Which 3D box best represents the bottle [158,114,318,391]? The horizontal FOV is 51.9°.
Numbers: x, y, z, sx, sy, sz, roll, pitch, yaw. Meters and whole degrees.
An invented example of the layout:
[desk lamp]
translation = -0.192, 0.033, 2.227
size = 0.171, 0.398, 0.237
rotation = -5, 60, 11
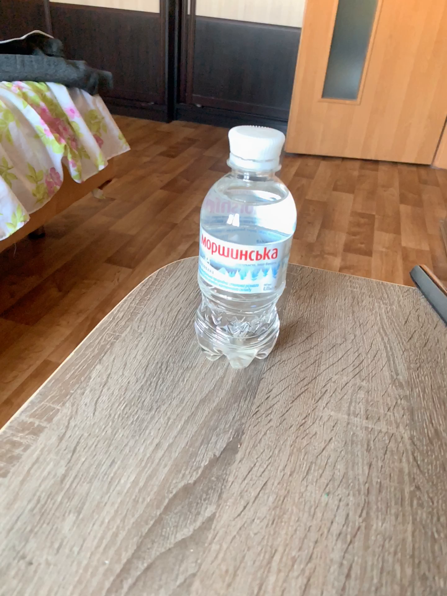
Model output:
[bottle]
translation = 0.006, -0.028, 0.294
size = 0.070, 0.149, 0.070
rotation = 4, 33, -2
